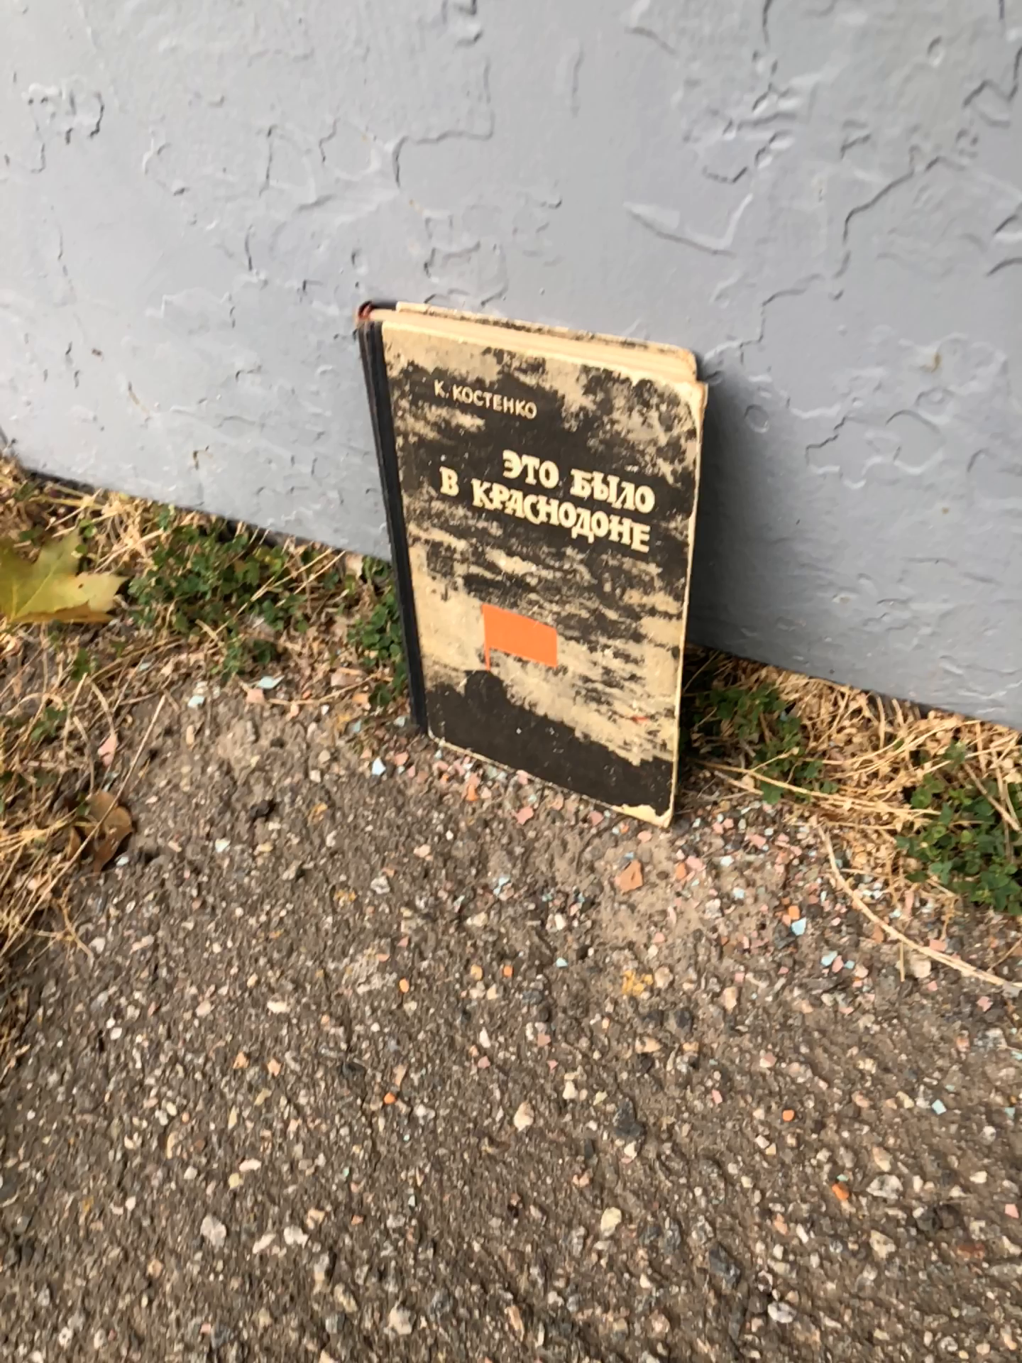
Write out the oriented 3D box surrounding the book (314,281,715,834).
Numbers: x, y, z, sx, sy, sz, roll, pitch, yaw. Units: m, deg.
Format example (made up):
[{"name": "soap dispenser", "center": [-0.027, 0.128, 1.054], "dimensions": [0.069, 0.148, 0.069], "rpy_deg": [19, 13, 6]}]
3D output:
[{"name": "book", "center": [0.003, -0.043, 0.442], "dimensions": [0.140, 0.199, 0.030], "rpy_deg": [19, 44, 26]}]
